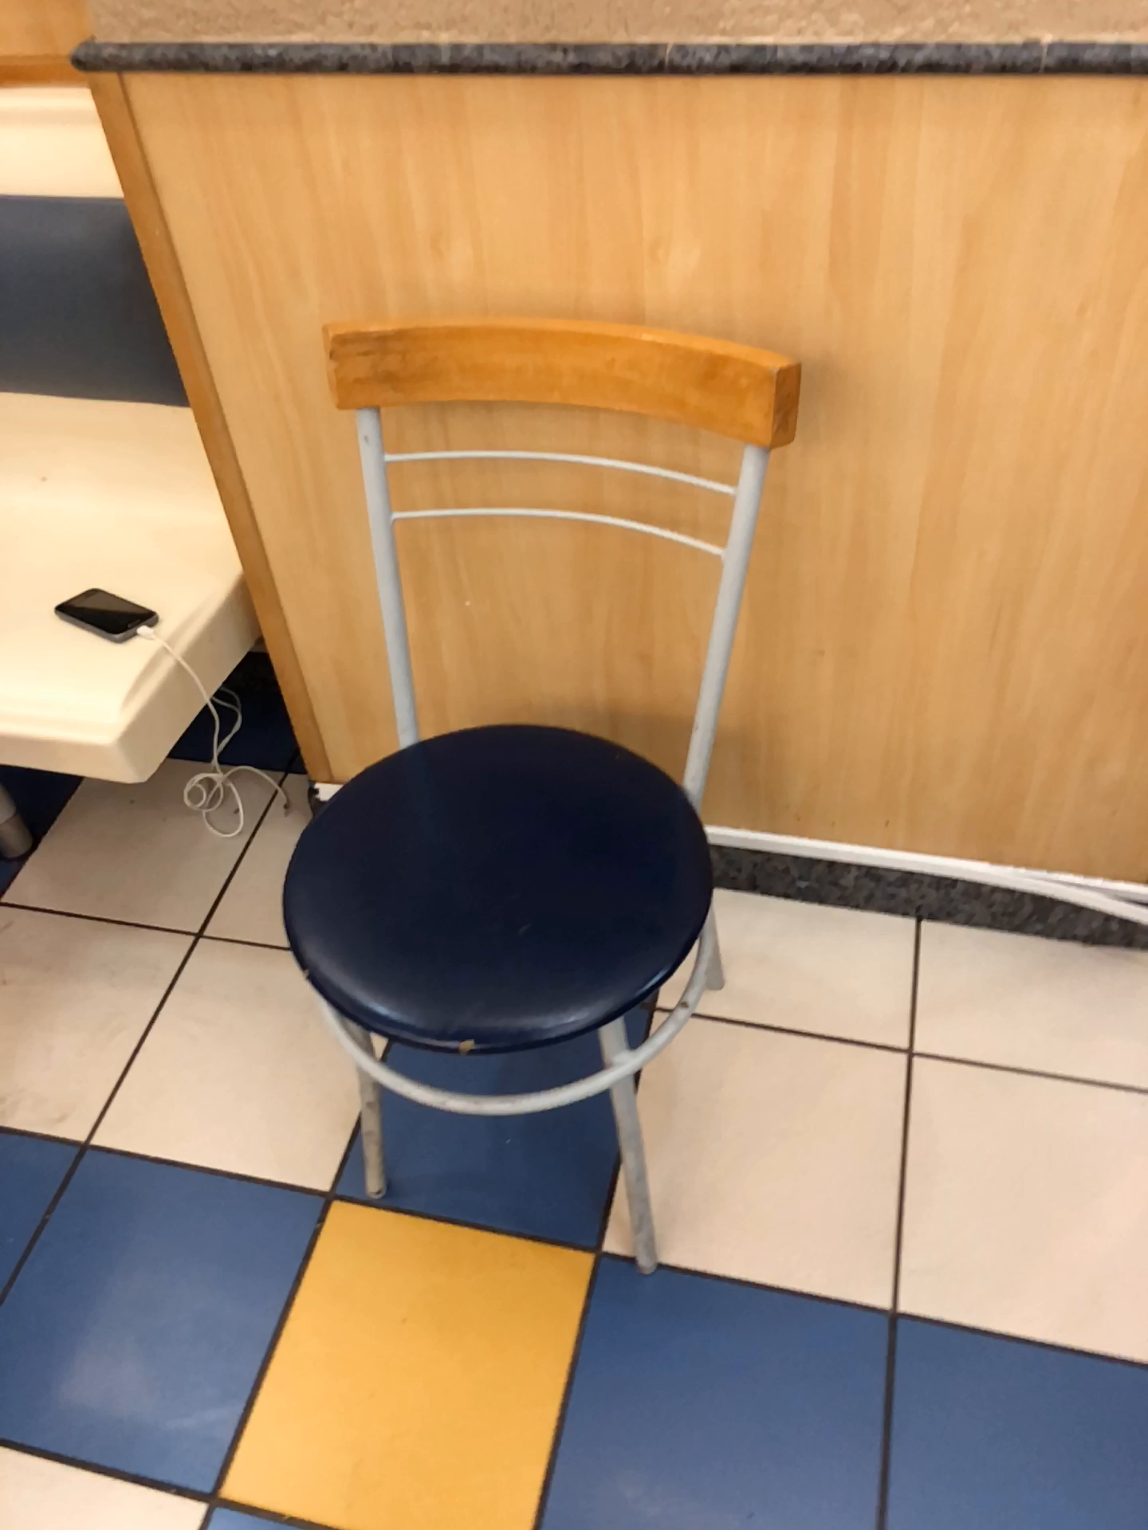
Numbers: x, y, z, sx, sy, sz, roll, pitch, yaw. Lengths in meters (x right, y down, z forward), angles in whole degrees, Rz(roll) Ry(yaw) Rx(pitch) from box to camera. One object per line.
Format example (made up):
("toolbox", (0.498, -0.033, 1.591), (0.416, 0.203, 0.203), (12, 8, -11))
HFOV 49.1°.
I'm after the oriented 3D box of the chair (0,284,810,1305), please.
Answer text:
("chair", (-0.057, 0.042, 1.165), (0.440, 0.745, 0.523), (8, 47, 14))
